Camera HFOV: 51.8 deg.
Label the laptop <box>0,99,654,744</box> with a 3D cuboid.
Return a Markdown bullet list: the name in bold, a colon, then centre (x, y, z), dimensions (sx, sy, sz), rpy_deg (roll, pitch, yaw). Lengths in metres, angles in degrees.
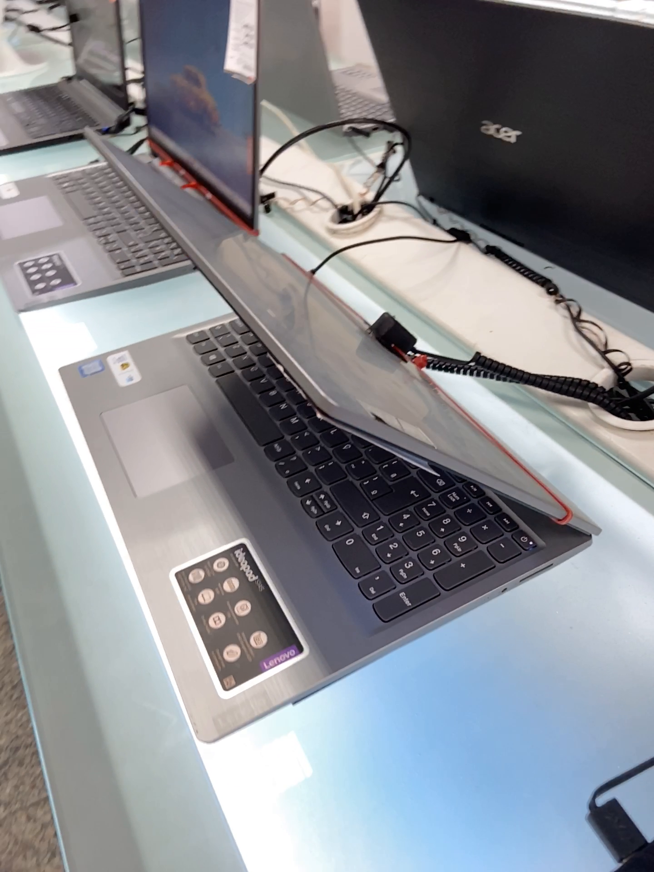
- **laptop**: centre (-0.041, -0.062, 0.432), dimensions (0.246, 0.167, 0.363), rpy_deg (-22, 44, -19)
